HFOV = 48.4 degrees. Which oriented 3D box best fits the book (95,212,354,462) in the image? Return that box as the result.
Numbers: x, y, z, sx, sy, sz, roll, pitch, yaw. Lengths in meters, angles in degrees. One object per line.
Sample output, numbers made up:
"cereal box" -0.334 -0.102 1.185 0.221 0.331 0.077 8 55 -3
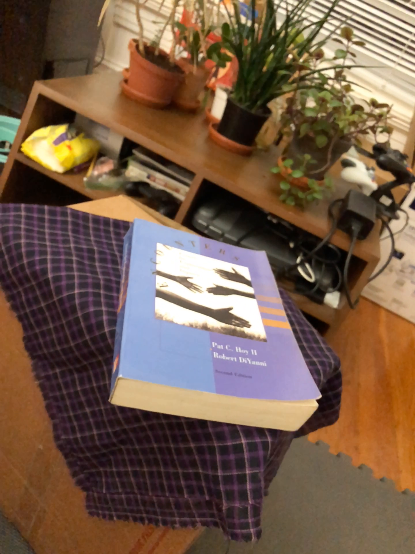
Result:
"book" 0.006 0.042 0.460 0.200 0.040 0.261 15 33 -17
